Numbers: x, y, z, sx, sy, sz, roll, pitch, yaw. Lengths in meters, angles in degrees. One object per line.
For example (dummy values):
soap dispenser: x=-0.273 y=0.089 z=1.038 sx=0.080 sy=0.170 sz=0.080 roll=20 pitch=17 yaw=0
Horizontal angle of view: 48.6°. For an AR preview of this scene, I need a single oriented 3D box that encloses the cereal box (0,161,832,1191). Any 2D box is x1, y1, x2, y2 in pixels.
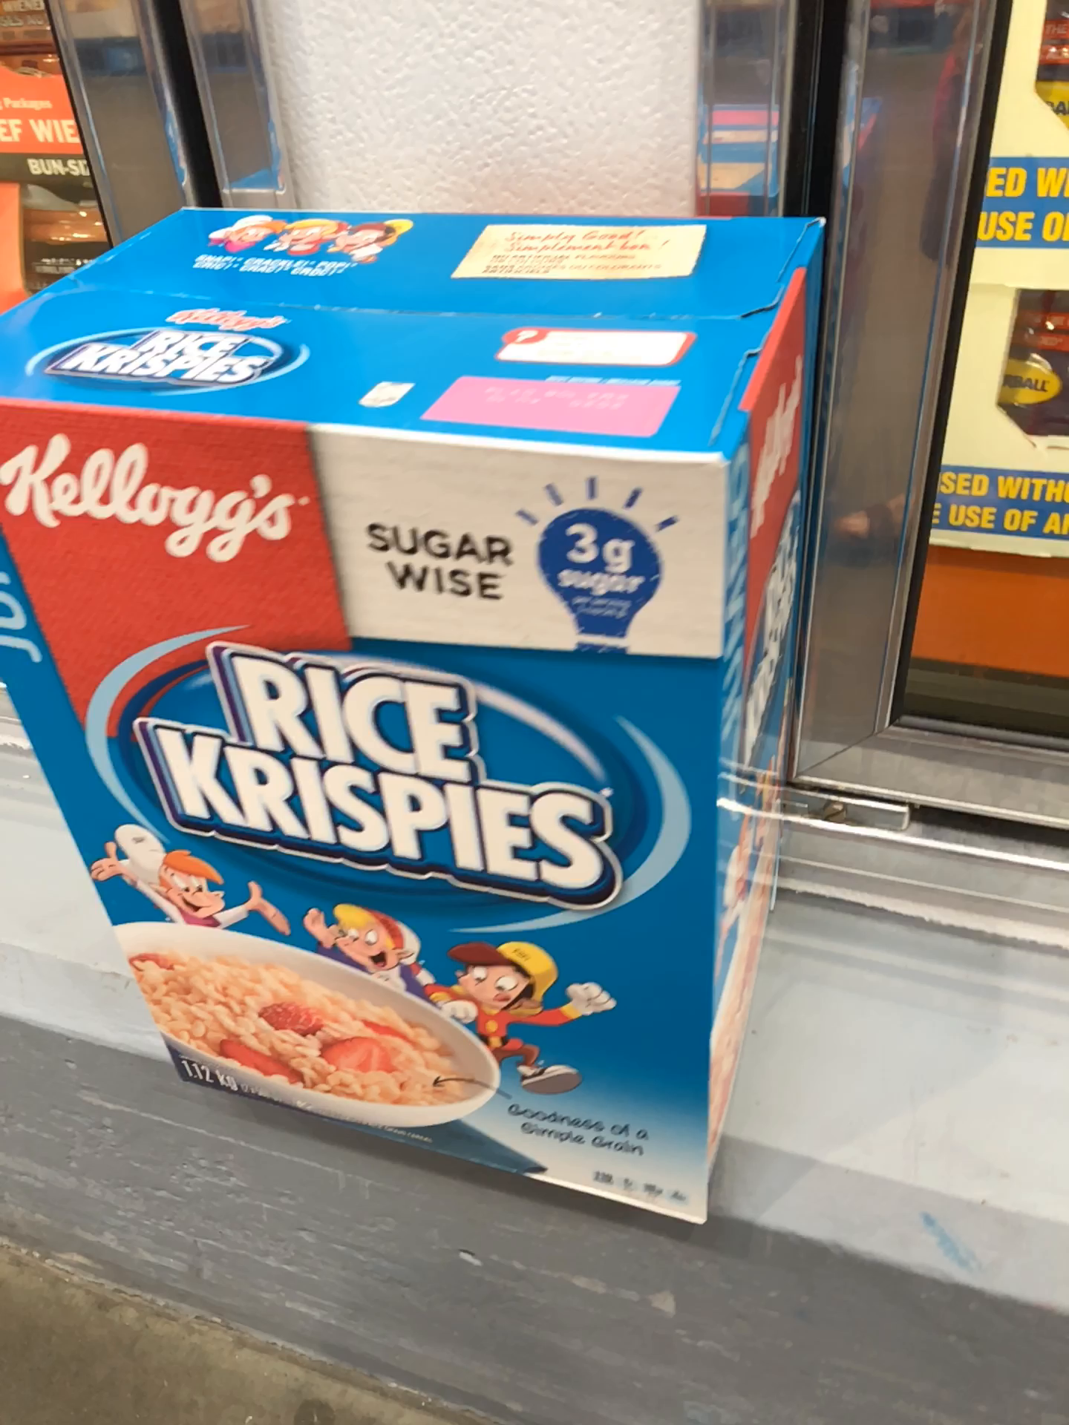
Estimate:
cereal box: x=-0.035 y=-0.009 z=0.435 sx=0.240 sy=0.319 sz=0.161 roll=8 pitch=43 yaw=17
